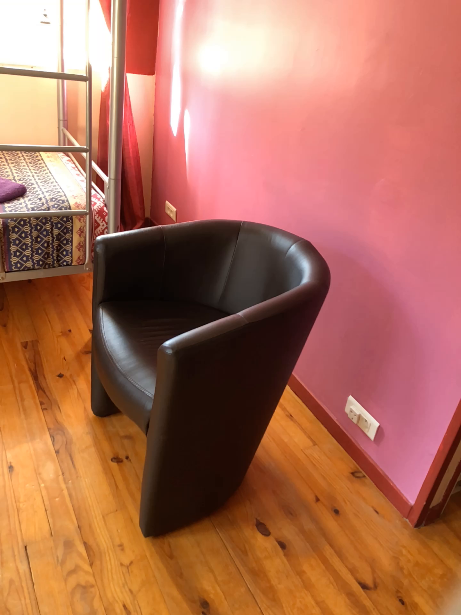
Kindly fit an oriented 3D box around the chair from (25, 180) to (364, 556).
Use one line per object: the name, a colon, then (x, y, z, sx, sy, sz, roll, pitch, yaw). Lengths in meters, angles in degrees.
chair: (-0.161, 0.082, 1.385, 0.592, 0.646, 0.672, -10, 35, -30)
